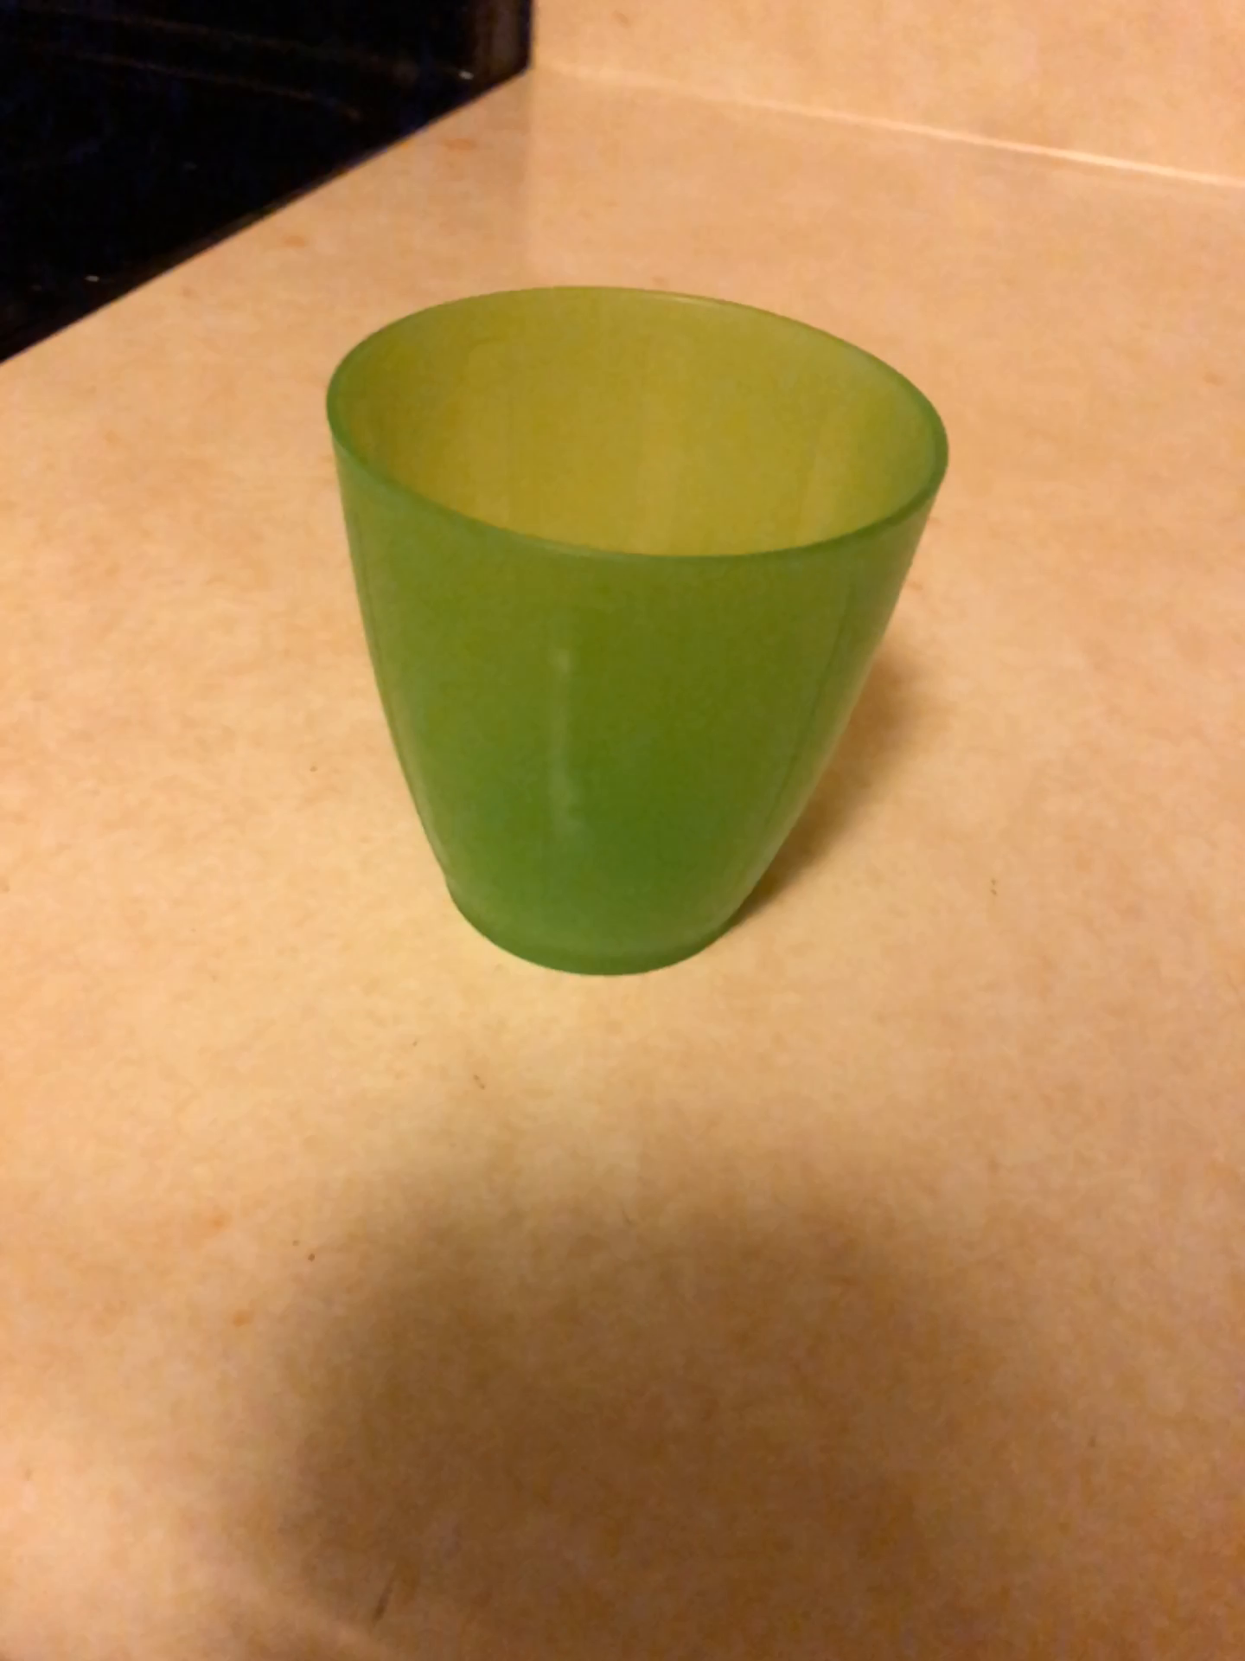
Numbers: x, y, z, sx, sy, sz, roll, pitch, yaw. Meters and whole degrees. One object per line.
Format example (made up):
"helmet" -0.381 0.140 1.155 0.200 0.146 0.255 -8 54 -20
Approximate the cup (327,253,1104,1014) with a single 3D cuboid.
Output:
"cup" 0.003 -0.031 0.196 0.080 0.070 0.080 3 40 -3
